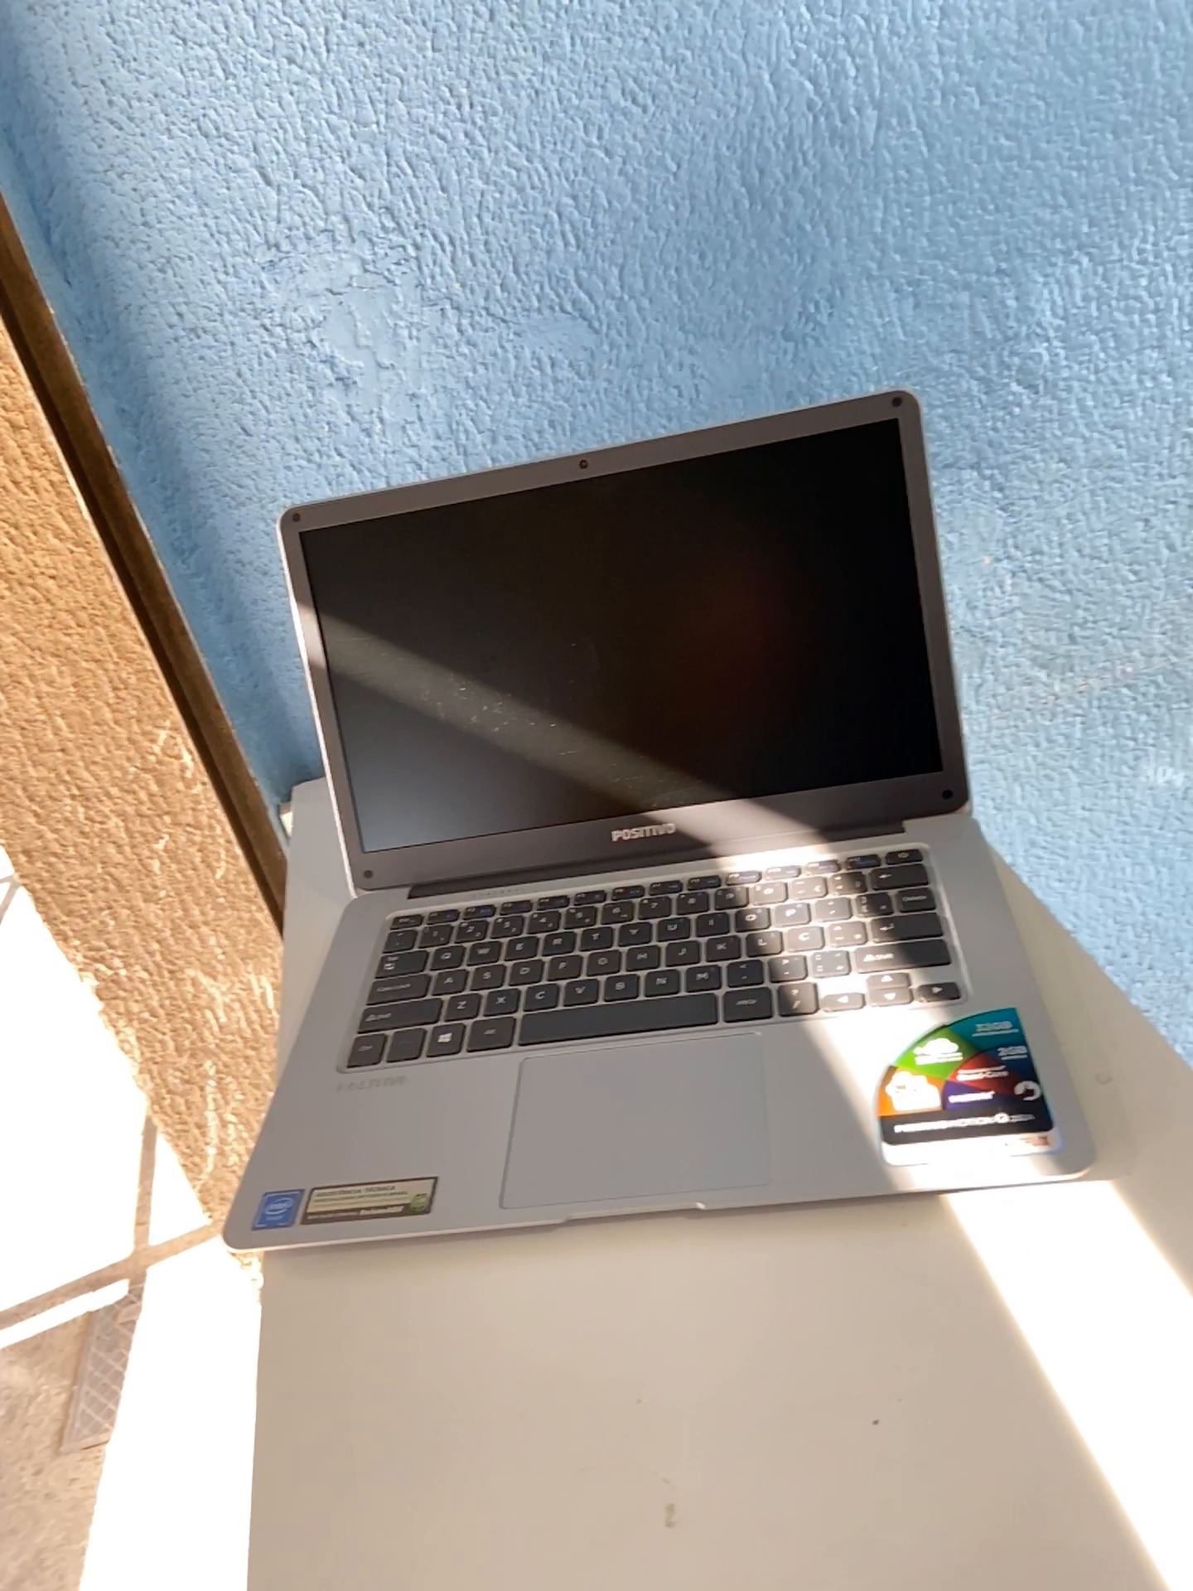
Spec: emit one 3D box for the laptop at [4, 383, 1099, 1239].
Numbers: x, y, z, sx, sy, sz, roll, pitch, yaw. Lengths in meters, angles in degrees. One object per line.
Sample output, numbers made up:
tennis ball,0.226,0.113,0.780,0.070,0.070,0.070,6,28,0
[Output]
laptop,0.002,-0.013,0.539,0.332,0.189,0.313,-8,32,9
